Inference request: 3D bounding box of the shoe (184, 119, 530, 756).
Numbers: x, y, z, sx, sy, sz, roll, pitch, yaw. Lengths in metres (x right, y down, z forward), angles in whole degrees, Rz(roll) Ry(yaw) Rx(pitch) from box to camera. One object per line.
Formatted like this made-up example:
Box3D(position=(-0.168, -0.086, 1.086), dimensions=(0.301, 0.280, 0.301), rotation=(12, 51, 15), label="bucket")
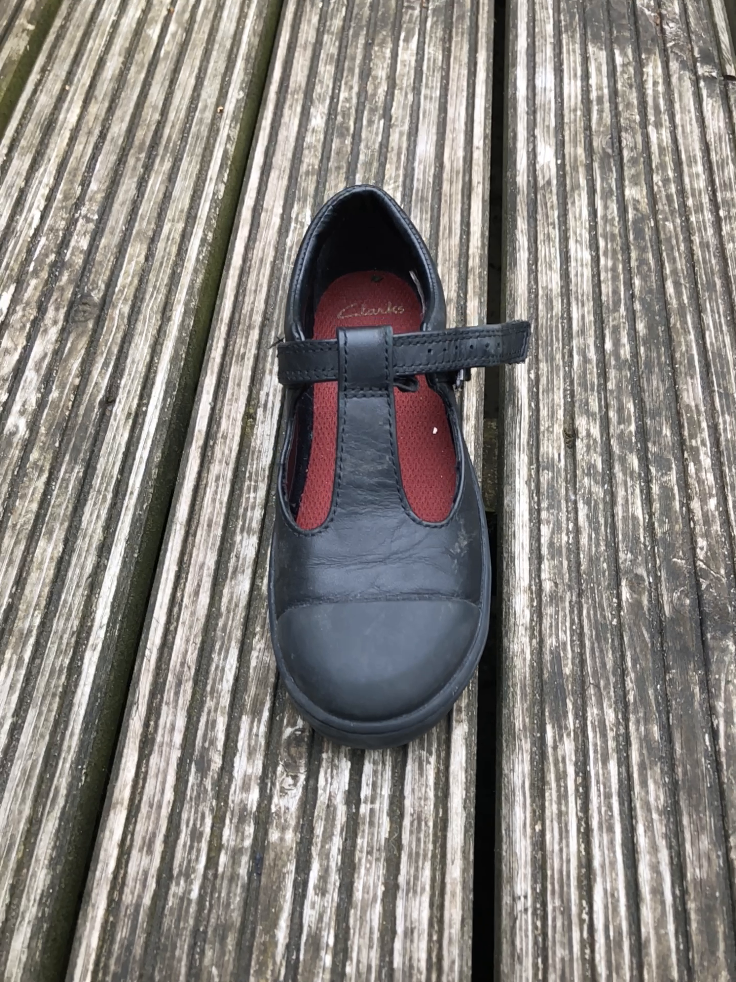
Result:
Box3D(position=(0.004, -0.022, 0.268), dimensions=(0.080, 0.080, 0.194), rotation=(2, 63, 3), label="shoe")
